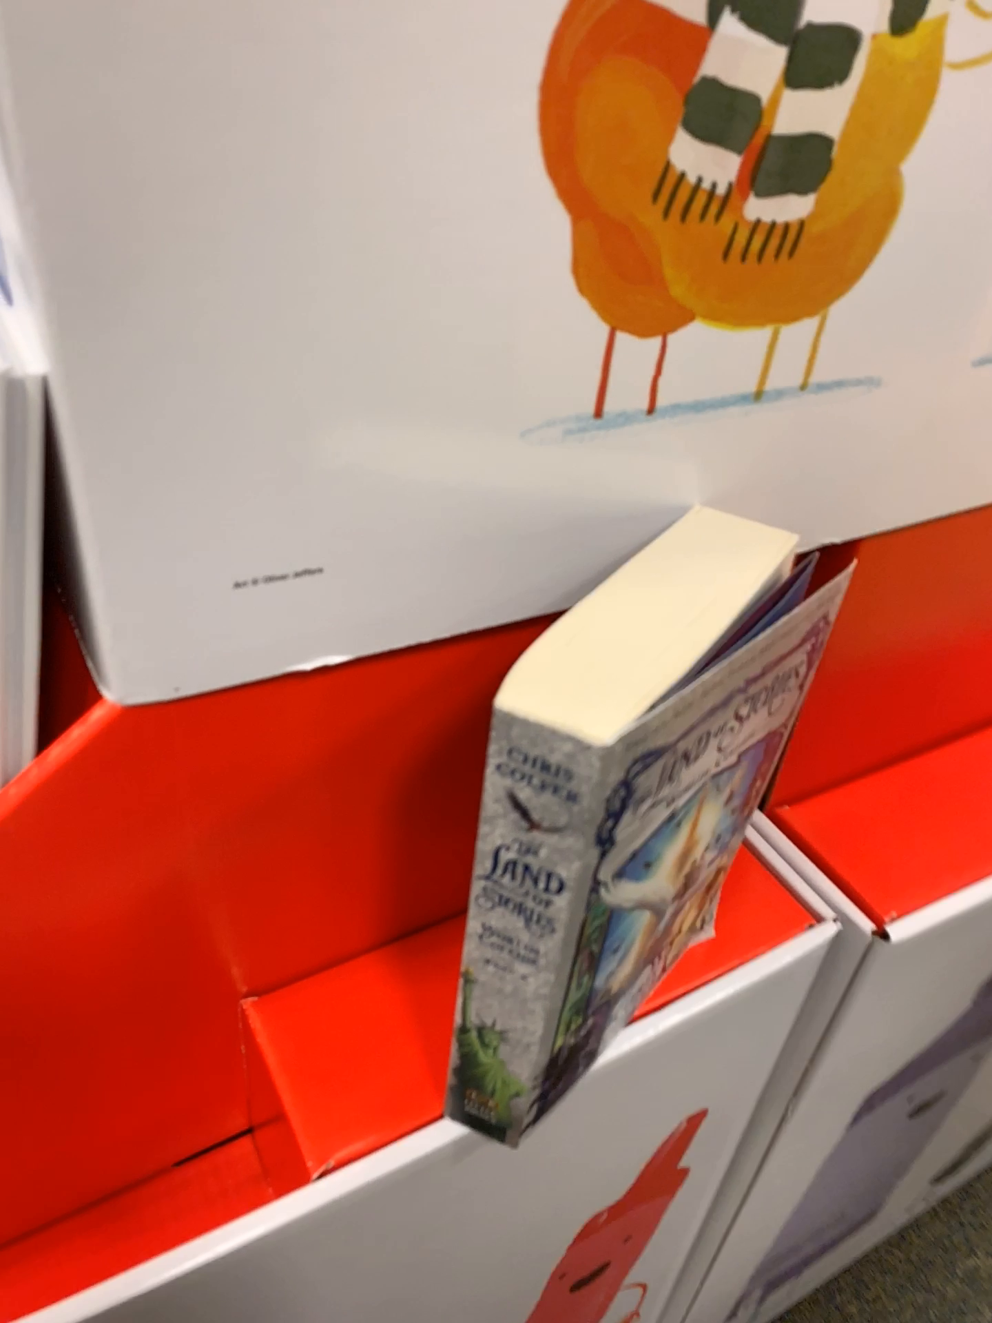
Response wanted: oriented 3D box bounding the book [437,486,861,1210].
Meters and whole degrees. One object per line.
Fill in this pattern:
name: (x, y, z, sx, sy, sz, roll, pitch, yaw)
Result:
book: (0.046, 0.062, 0.336, 0.065, 0.193, 0.130, 22, 41, 20)
